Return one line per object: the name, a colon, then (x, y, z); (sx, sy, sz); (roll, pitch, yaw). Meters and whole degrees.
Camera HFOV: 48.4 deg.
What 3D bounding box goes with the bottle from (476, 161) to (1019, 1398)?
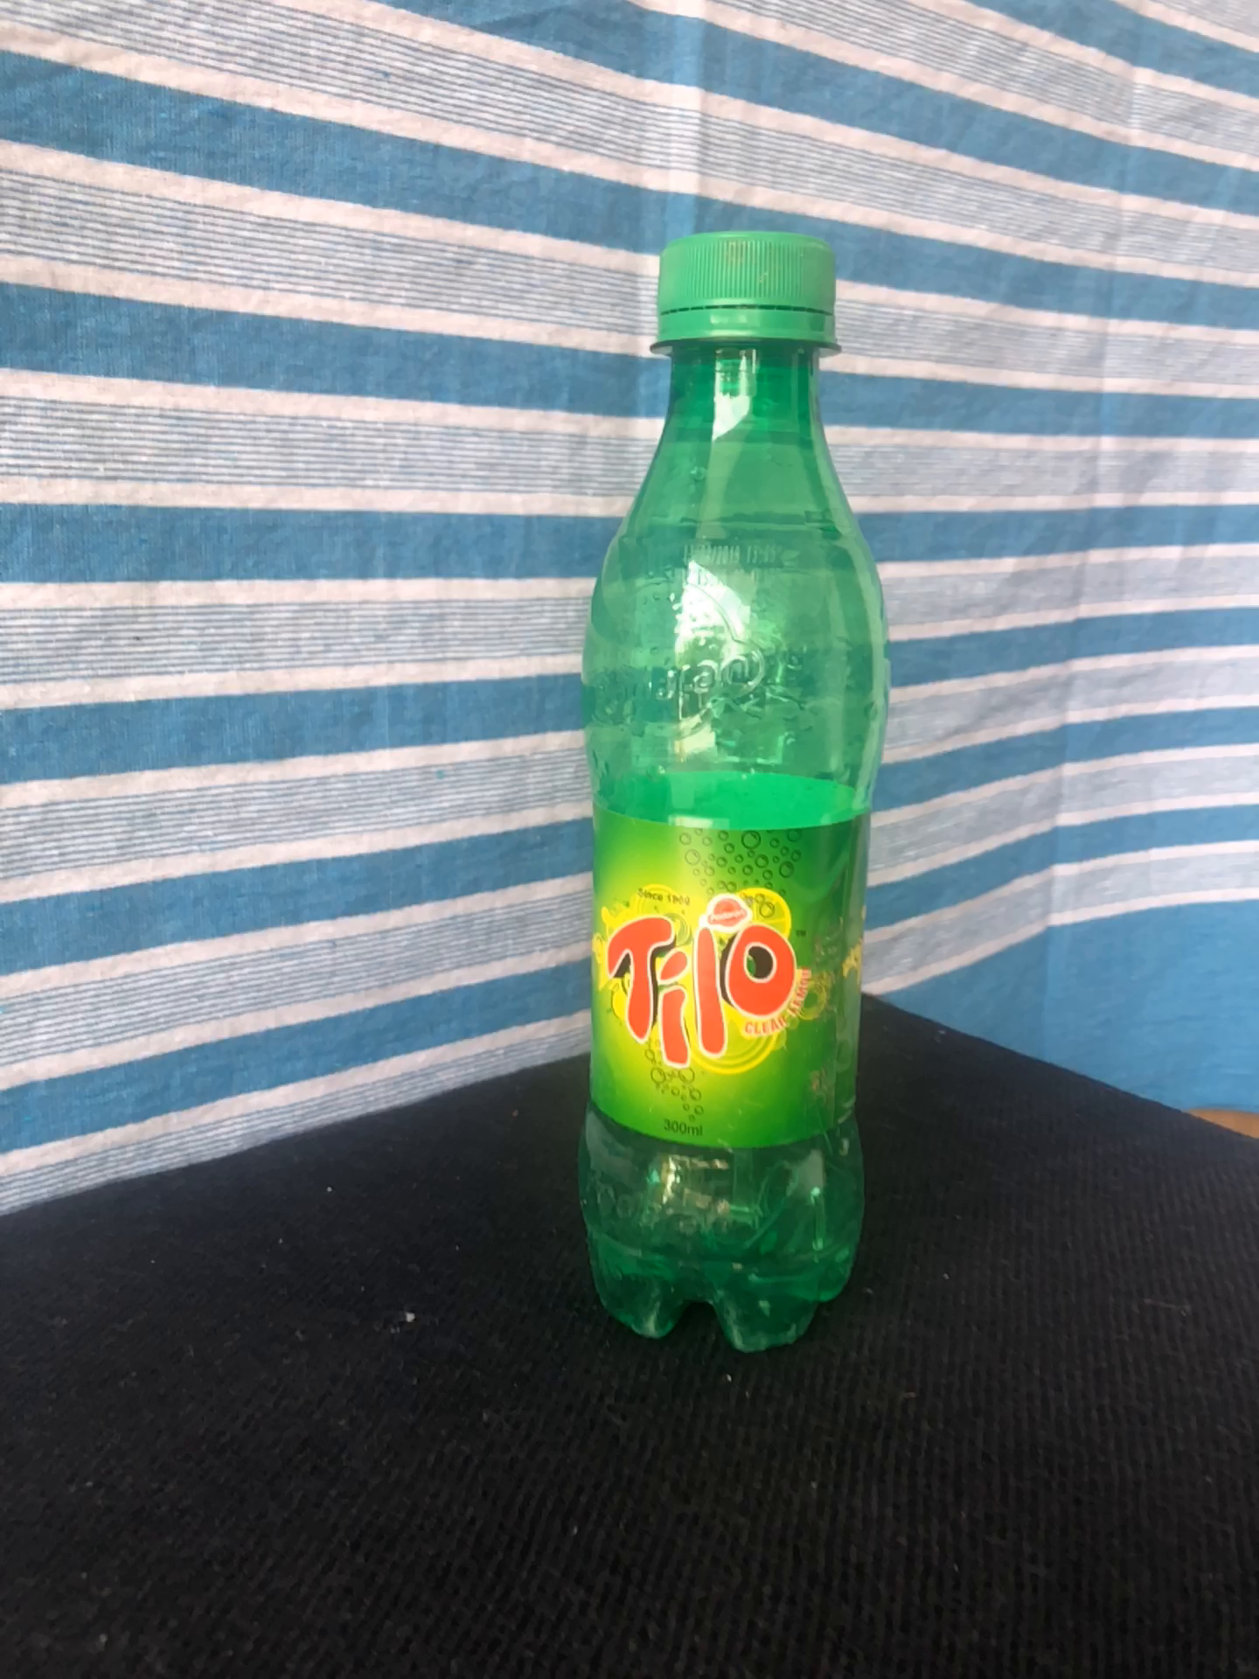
bottle: (0.014, -0.008, 0.262); (0.070, 0.199, 0.070); (4, 12, -1)
